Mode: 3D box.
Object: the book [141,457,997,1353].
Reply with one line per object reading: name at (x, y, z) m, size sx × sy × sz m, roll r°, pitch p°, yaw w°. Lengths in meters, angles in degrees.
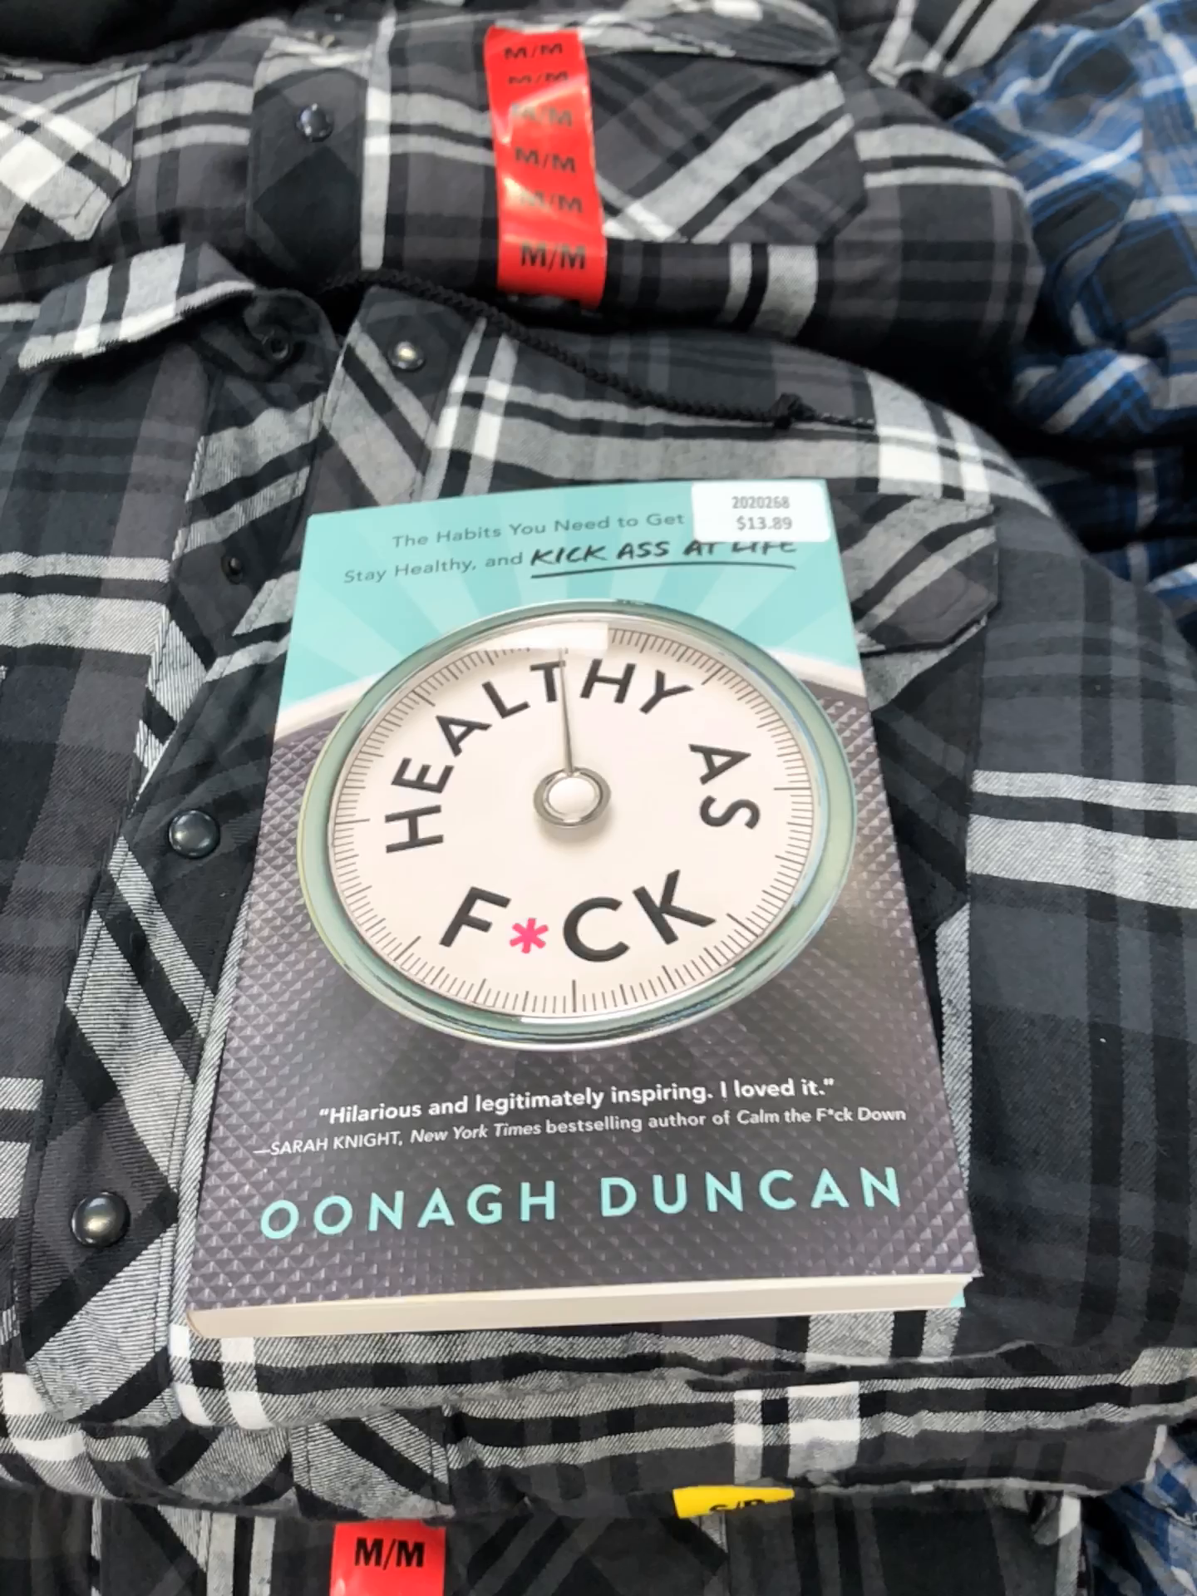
book at (-0.009, 0.005, 0.328) m, size 0.156 × 0.028 × 0.238 m, roll -2°, pitch 52°, yaw 0°
